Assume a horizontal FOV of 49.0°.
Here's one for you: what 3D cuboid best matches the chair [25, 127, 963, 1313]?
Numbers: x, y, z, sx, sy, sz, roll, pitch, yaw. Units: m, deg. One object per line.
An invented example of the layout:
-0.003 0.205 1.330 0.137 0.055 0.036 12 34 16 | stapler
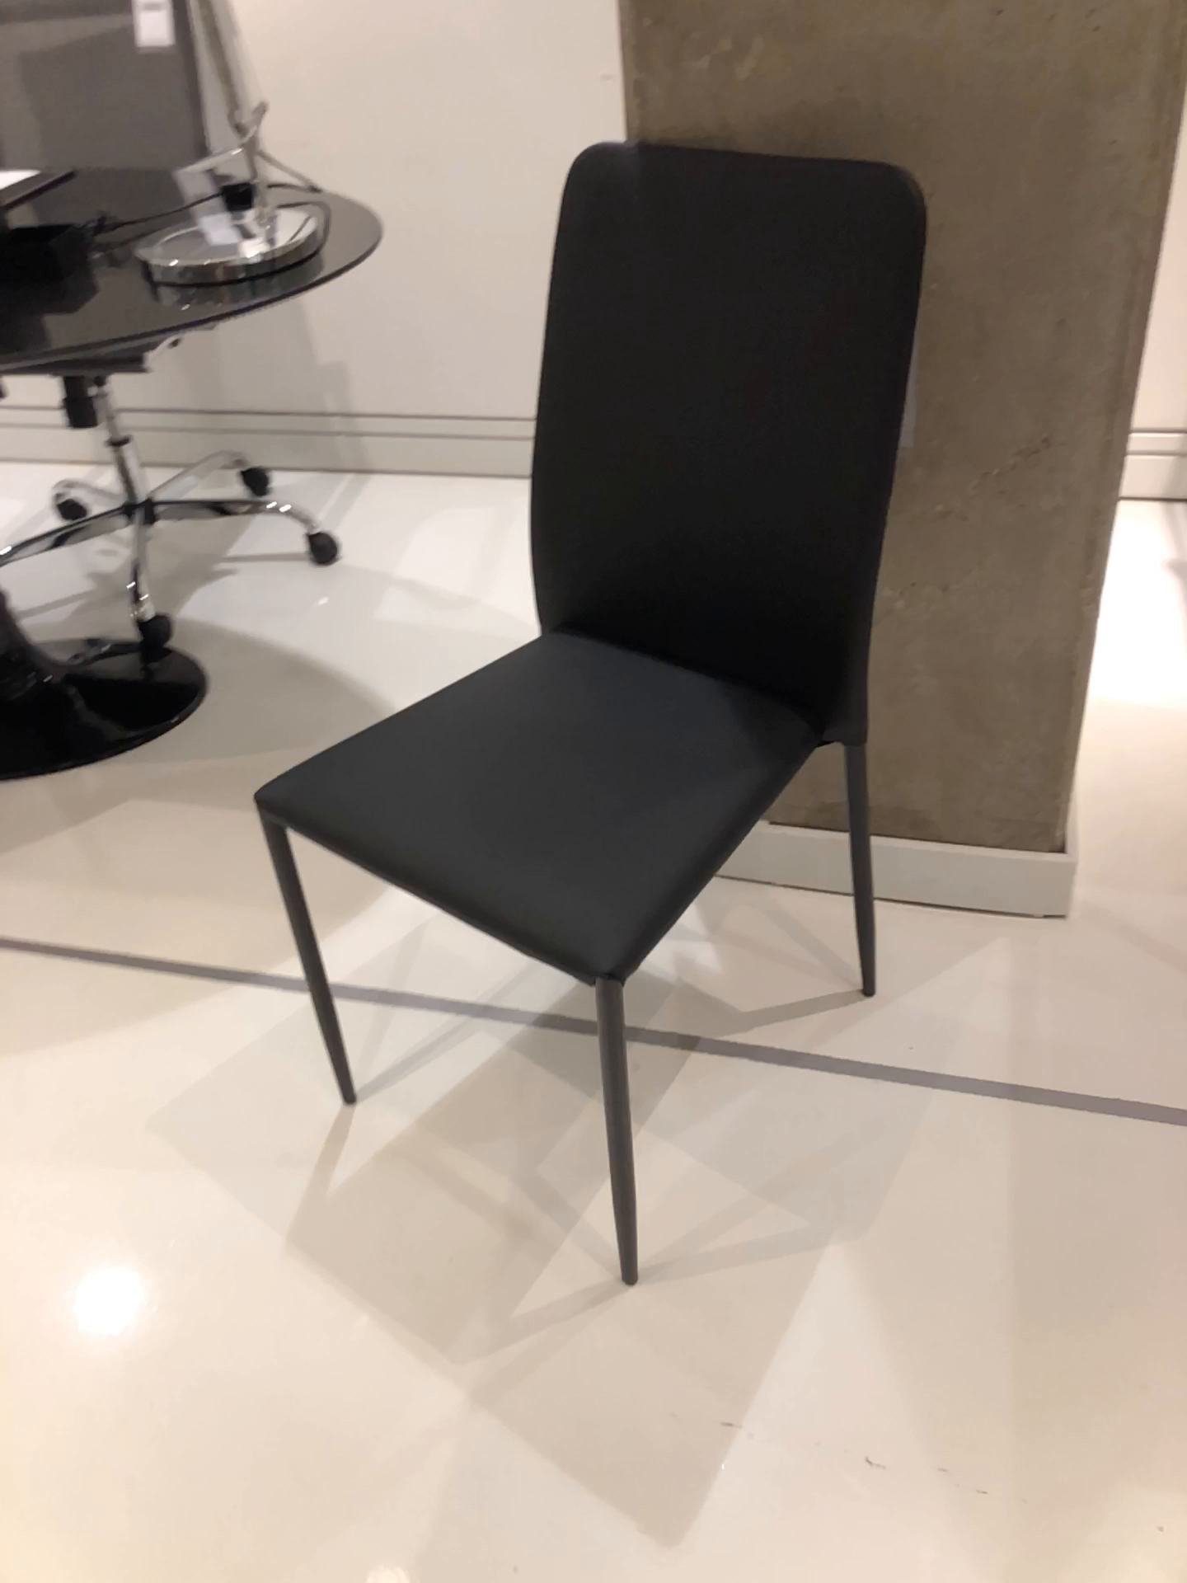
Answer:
-0.026 -0.079 1.247 0.472 0.883 0.542 23 46 33 | chair
